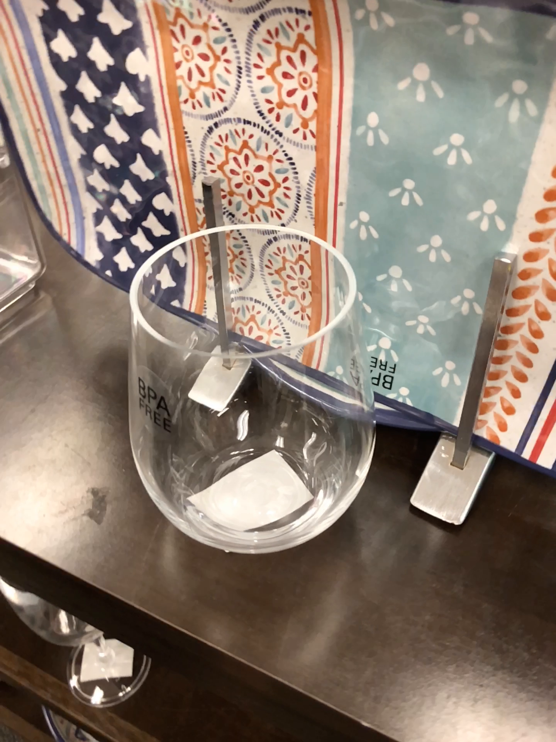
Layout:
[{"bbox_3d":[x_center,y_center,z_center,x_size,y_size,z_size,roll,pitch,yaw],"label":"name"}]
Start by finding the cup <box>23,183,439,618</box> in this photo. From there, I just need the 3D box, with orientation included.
[{"bbox_3d":[-0.011,0.006,0.230,0.094,0.097,0.094,-1,44,1],"label":"cup"}]
